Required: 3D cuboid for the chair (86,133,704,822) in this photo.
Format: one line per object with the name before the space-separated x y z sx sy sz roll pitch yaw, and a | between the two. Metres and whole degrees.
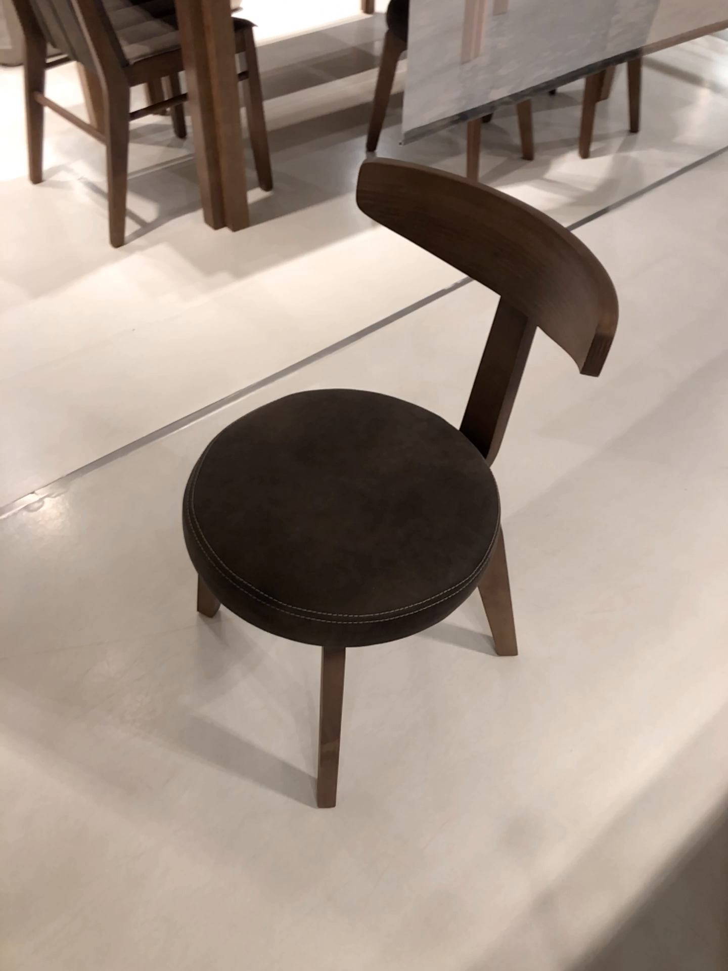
chair | 0.012 -0.002 1.124 0.491 0.705 0.472 -26 52 -24
